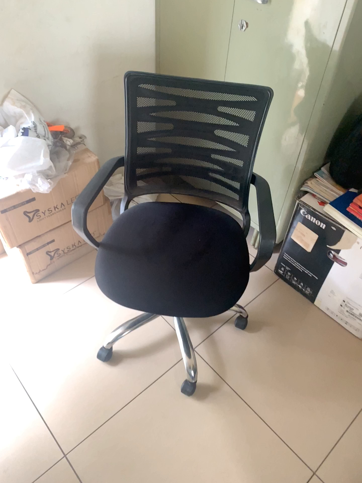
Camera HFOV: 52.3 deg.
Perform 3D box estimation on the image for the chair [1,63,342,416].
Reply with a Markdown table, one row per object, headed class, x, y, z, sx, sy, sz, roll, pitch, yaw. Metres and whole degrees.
| class | x | y | z | sx | sy | sz | roll | pitch | yaw |
| --- | --- | --- | --- | --- | --- | --- | --- | --- | --- |
| chair | -0.009 | 0.041 | 1.308 | 0.680 | 0.996 | 0.652 | 8 | 45 | 4 |
